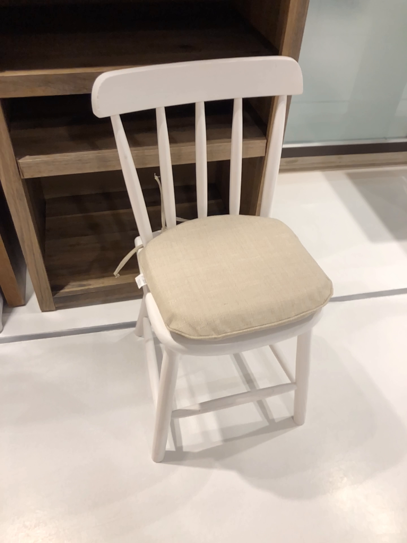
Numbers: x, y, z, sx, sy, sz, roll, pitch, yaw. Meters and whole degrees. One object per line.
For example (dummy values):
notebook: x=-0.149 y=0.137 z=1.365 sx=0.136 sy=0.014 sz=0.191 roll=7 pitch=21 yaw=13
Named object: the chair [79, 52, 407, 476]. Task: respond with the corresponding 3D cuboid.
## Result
chair: x=0.031 y=-0.002 z=0.974 sx=0.450 sy=0.725 sz=0.483 roll=-9 pitch=45 yaw=-14
